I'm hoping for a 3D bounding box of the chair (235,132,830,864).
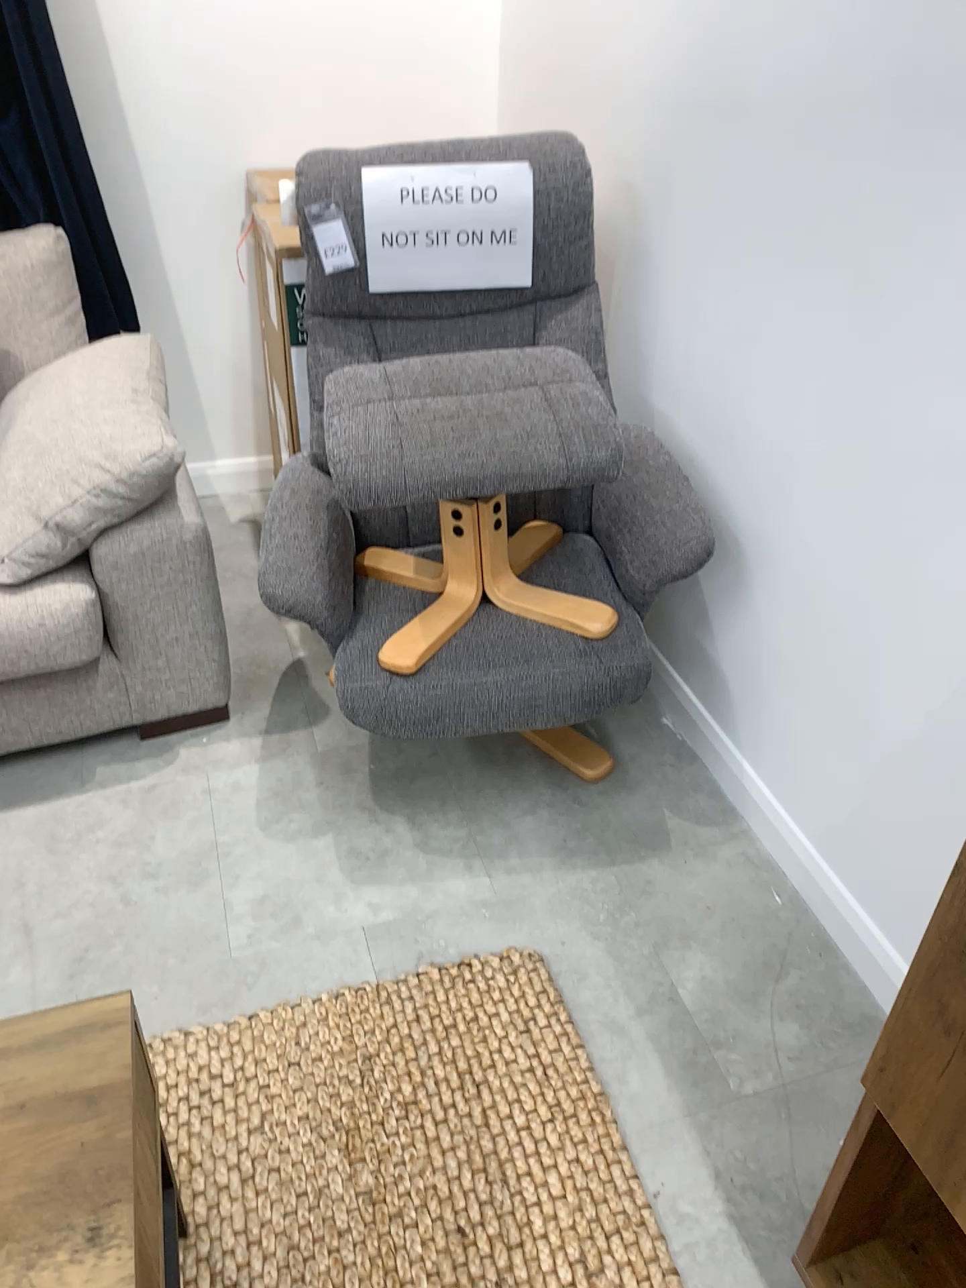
[{"bbox_3d":[-0.009,-0.281,1.696,0.702,0.975,0.726,-6,35,-11],"label":"chair"}]

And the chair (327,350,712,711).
[{"bbox_3d":[0.020,-0.206,1.567,0.482,0.351,0.484,-5,35,-10],"label":"chair"}]
